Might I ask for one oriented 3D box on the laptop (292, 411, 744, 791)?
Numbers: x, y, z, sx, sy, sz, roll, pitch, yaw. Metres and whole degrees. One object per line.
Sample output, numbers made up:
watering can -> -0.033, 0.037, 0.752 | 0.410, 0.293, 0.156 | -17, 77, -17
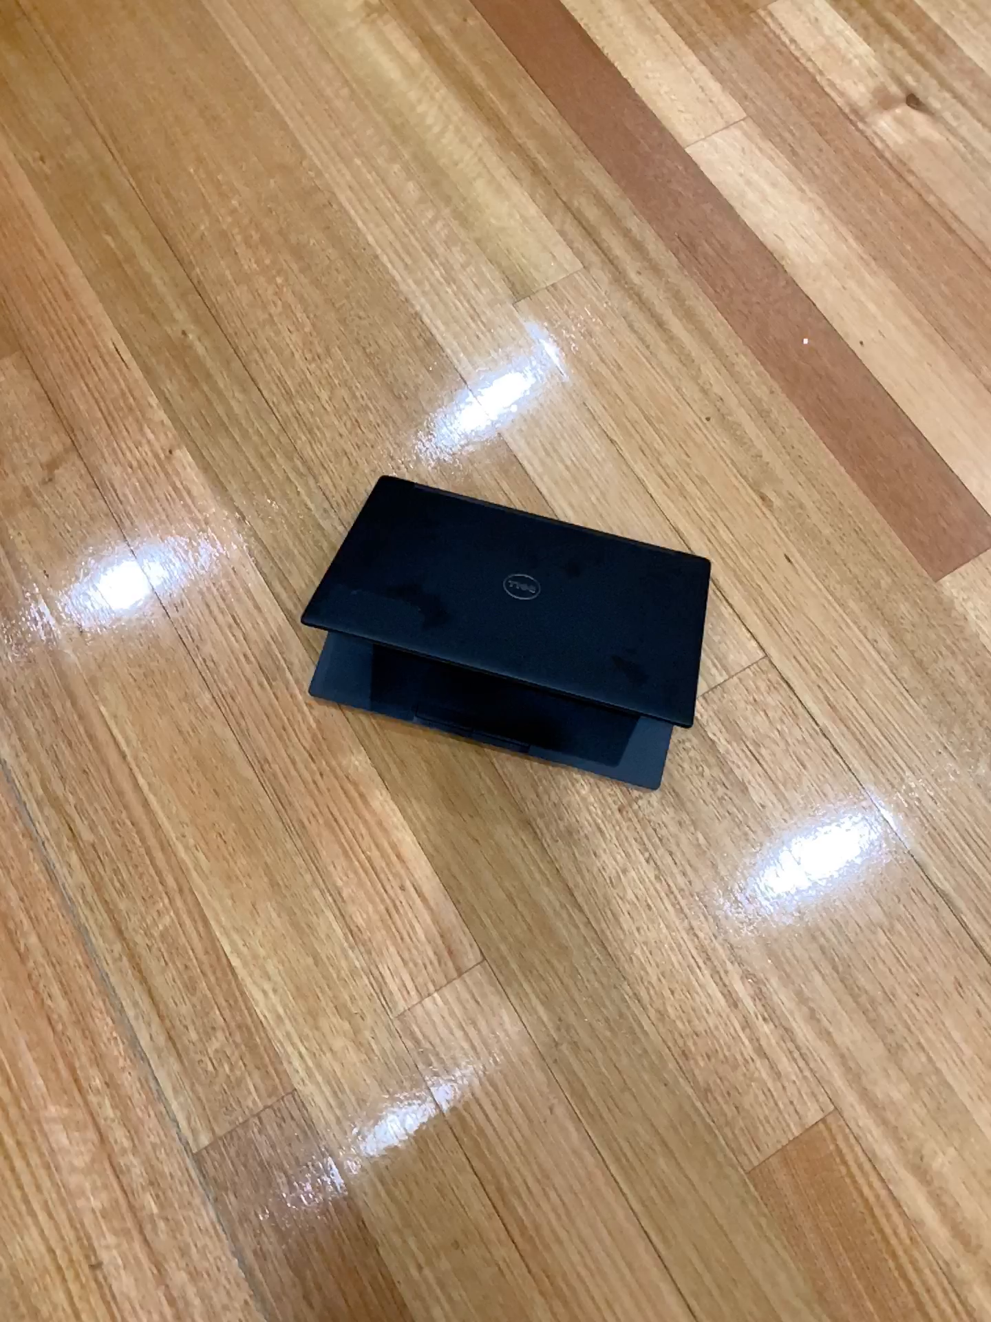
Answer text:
laptop -> 0.022, -0.046, 0.805 | 0.296, 0.110, 0.207 | 16, 70, 2
